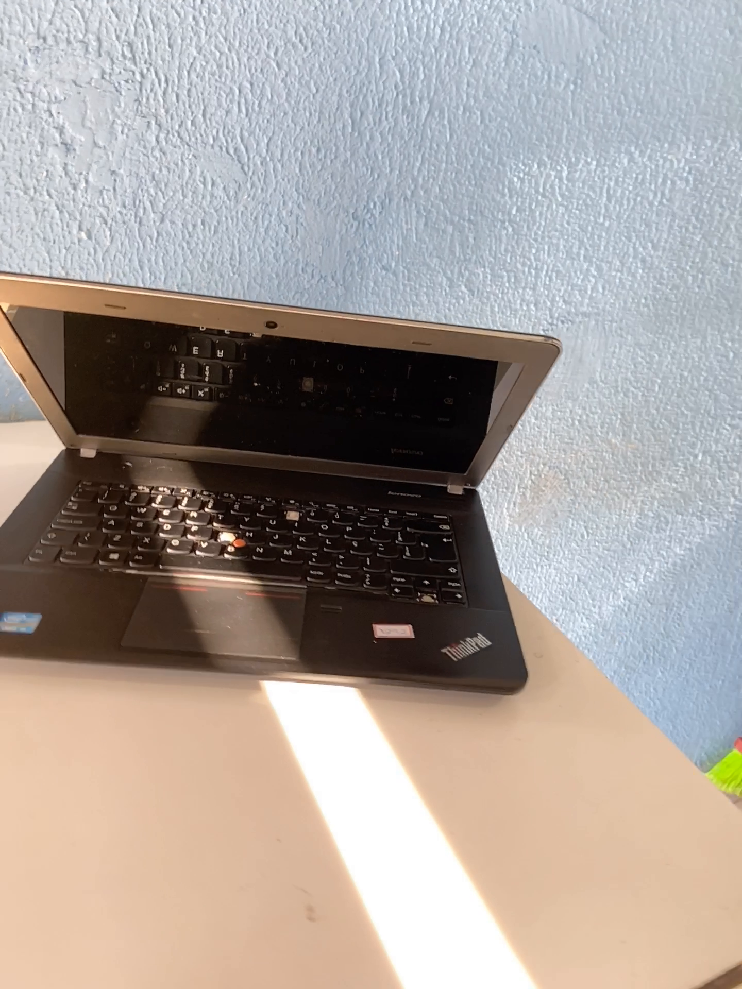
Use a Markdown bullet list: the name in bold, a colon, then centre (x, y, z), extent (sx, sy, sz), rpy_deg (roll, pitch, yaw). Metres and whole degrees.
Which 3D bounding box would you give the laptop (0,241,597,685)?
- **laptop**: centre (-0.068, -0.036, 0.483), extent (0.330, 0.165, 0.232), rpy_deg (5, 28, -3)
